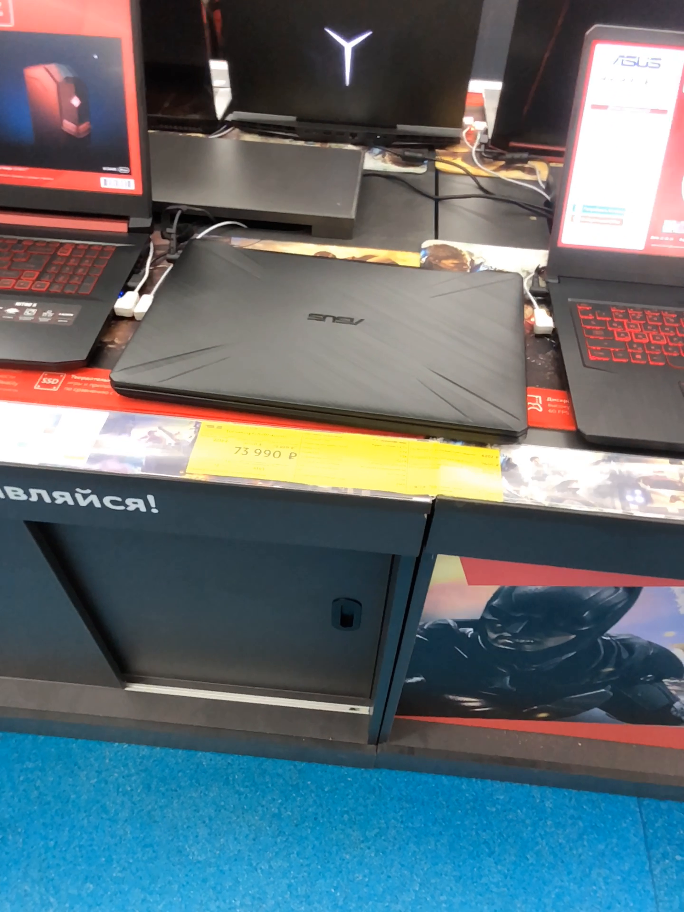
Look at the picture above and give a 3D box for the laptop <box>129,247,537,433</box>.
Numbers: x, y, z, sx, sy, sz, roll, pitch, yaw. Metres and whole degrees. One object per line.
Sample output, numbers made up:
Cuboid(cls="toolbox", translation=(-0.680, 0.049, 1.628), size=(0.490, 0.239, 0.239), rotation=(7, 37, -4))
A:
Cuboid(cls="laptop", translation=(0.005, -0.136, 0.791), size=(0.385, 0.001, 0.262), rotation=(7, 44, 5))
